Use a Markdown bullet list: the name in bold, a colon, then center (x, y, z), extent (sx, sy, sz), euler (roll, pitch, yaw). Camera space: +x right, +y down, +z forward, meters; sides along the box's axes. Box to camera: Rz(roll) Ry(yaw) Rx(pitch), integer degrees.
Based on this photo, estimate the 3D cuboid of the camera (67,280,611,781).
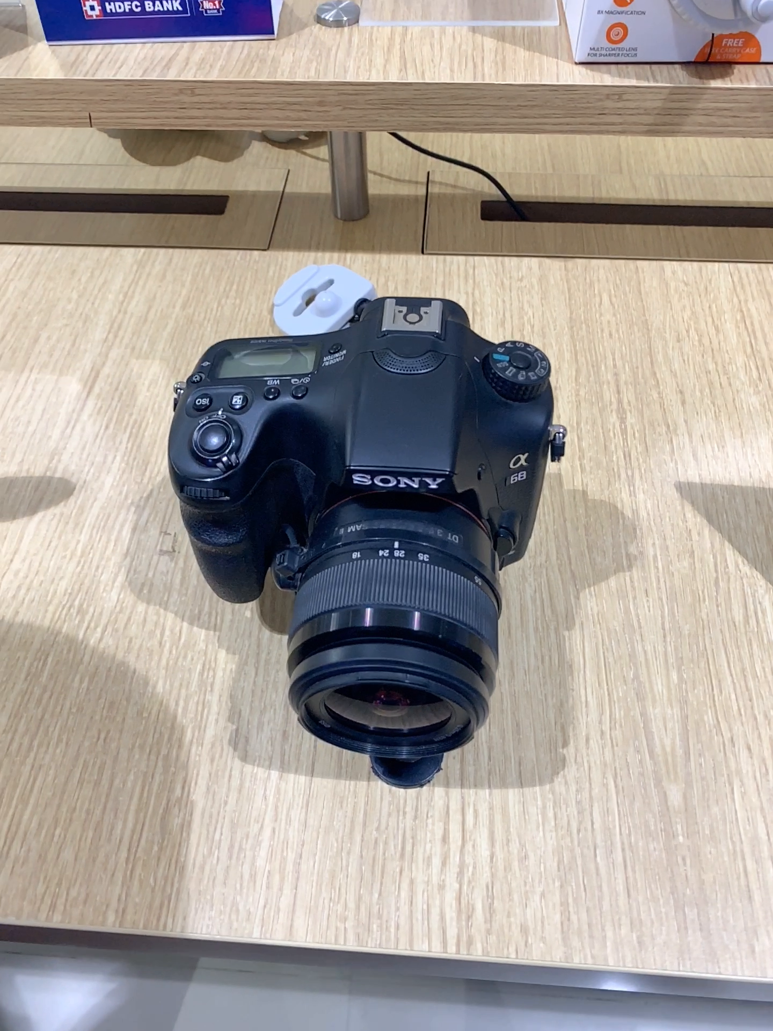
- **camera**: center (-0.008, 0.004, 0.270), extent (0.130, 0.100, 0.135), euler (1, 53, 3)
